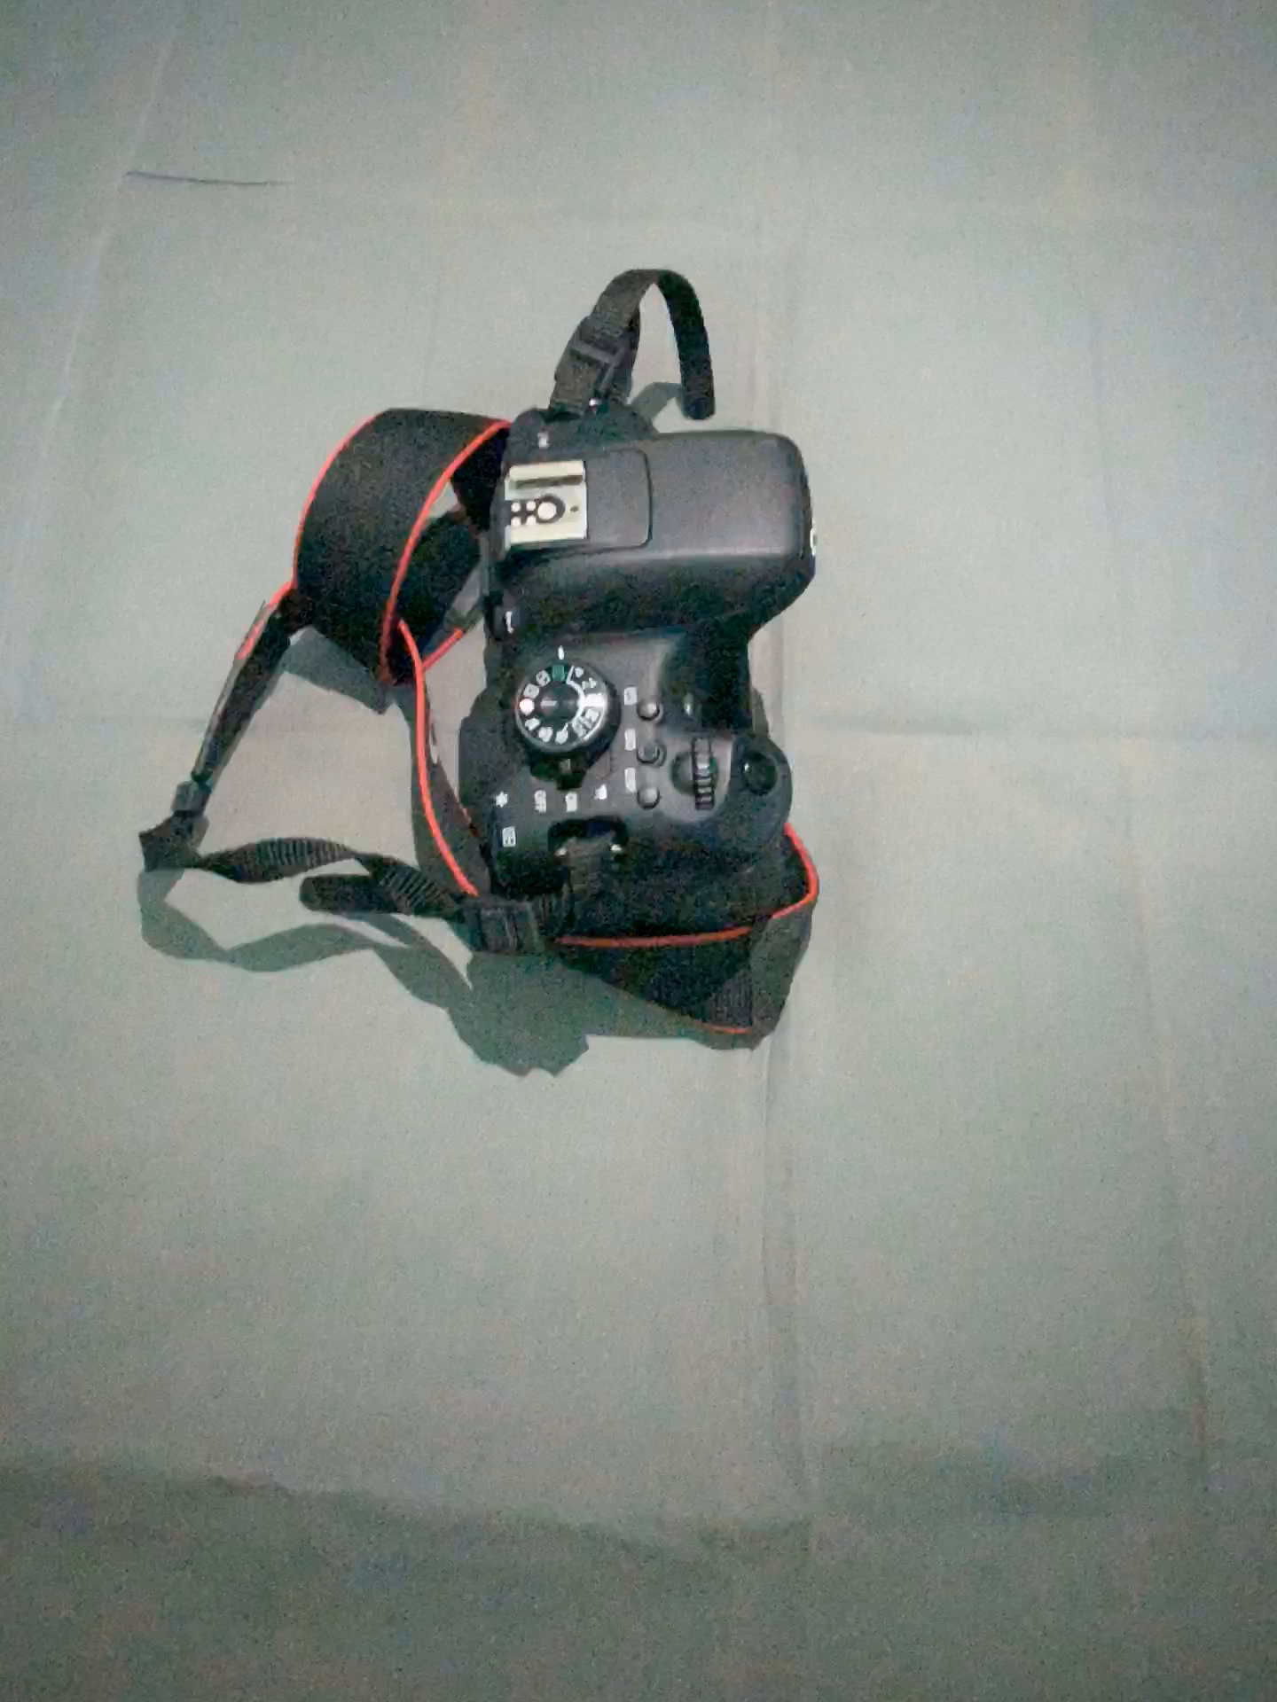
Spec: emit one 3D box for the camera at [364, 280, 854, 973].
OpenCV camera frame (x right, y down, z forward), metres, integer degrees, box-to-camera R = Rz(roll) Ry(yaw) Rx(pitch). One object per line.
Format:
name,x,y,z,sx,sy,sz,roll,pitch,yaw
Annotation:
camera,-0.008,-0.051,0.310,0.090,0.088,0.133,-2,64,-2
